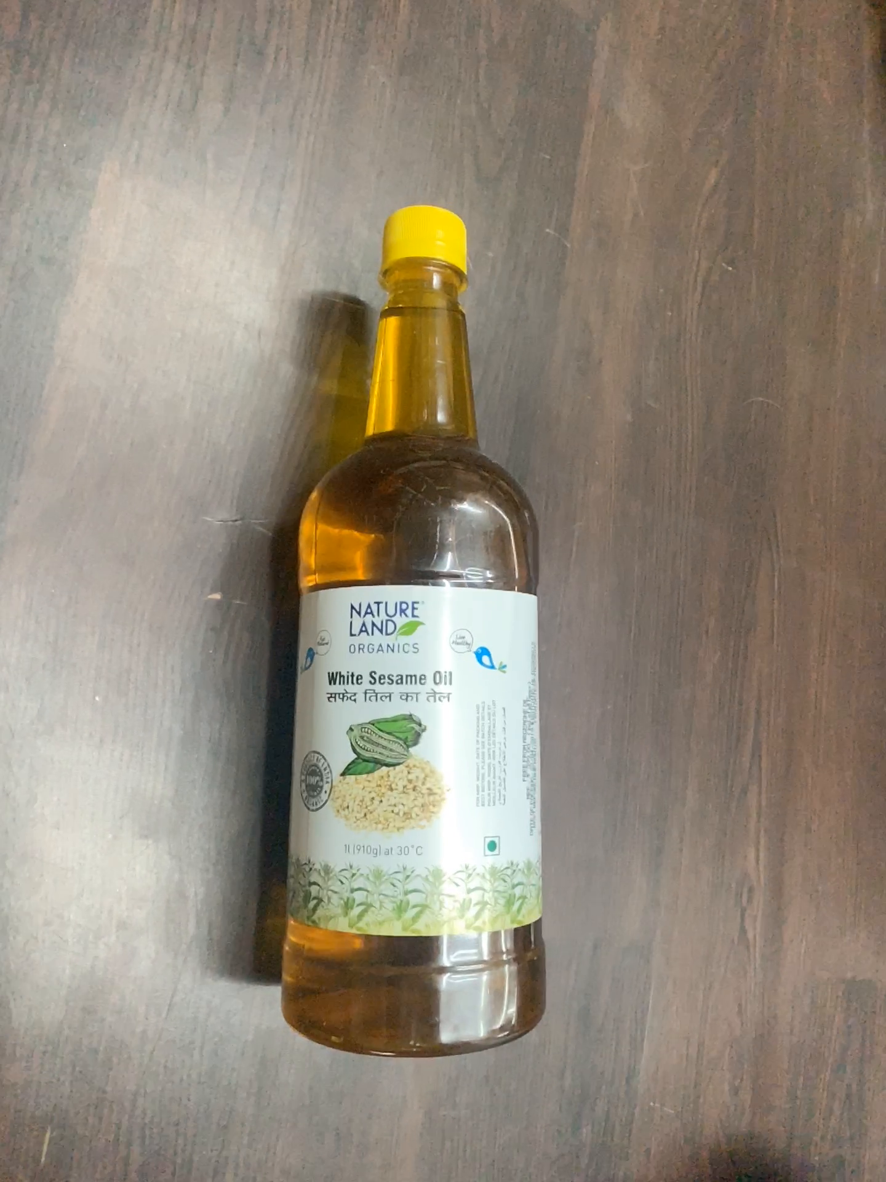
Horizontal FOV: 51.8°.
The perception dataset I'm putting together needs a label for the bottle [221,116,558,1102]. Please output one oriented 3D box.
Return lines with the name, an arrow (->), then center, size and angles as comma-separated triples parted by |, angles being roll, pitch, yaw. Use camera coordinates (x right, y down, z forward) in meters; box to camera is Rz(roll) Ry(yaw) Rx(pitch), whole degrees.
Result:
bottle -> -0.009, 0.002, 0.300 | 0.080, 0.090, 0.270 | -2, 80, 13
